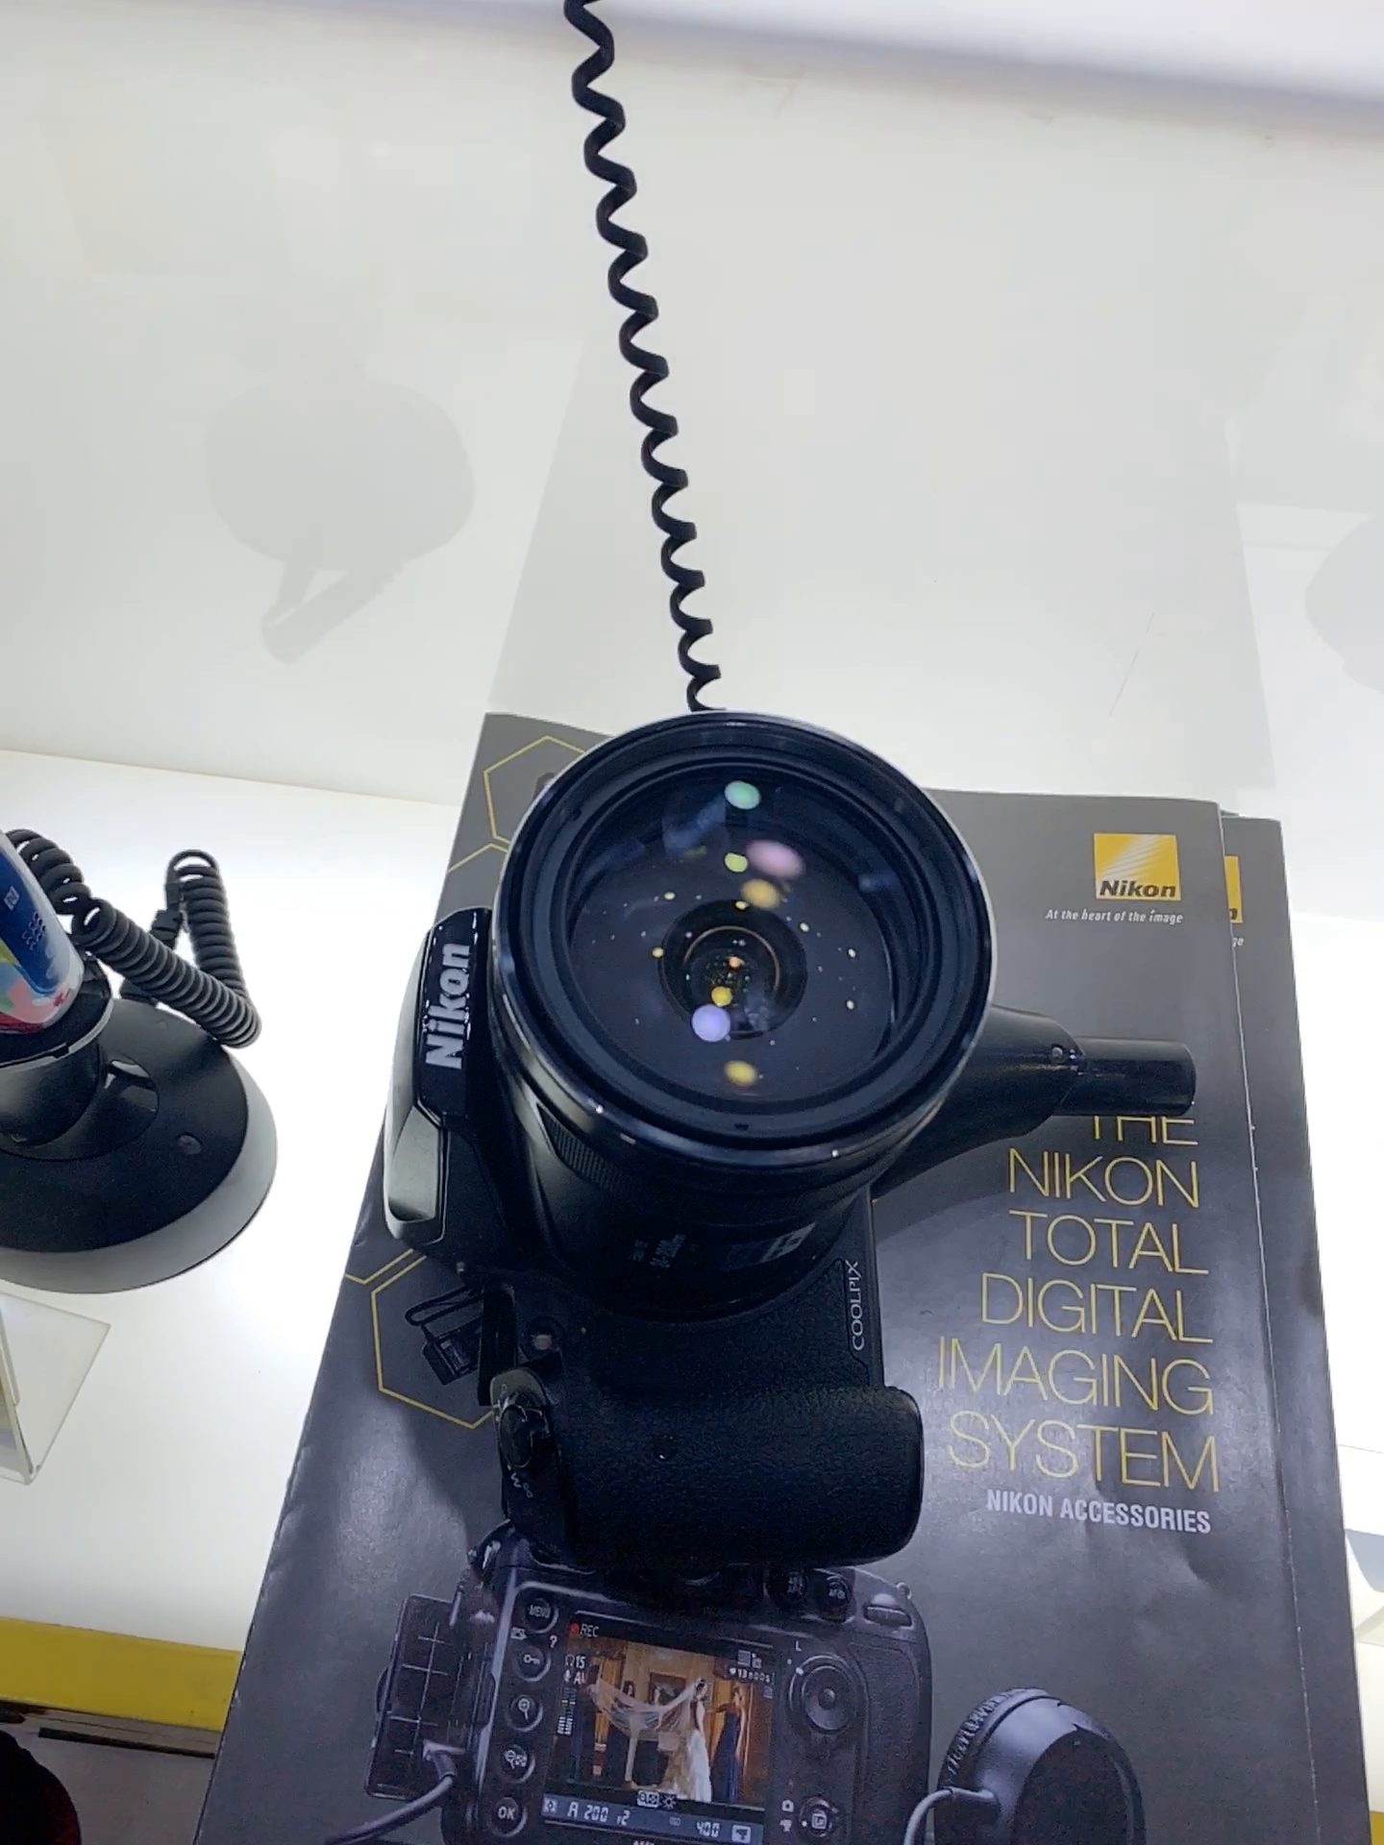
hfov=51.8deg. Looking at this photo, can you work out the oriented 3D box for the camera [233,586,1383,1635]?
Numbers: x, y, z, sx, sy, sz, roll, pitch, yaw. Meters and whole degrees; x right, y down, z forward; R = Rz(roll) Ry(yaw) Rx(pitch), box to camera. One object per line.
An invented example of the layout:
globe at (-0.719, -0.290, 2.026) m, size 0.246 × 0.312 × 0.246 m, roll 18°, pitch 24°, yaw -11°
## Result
camera at (0.038, 0.040, 0.248) m, size 0.200 × 0.100 × 0.140 m, roll 5°, pitch 57°, yaw -10°
